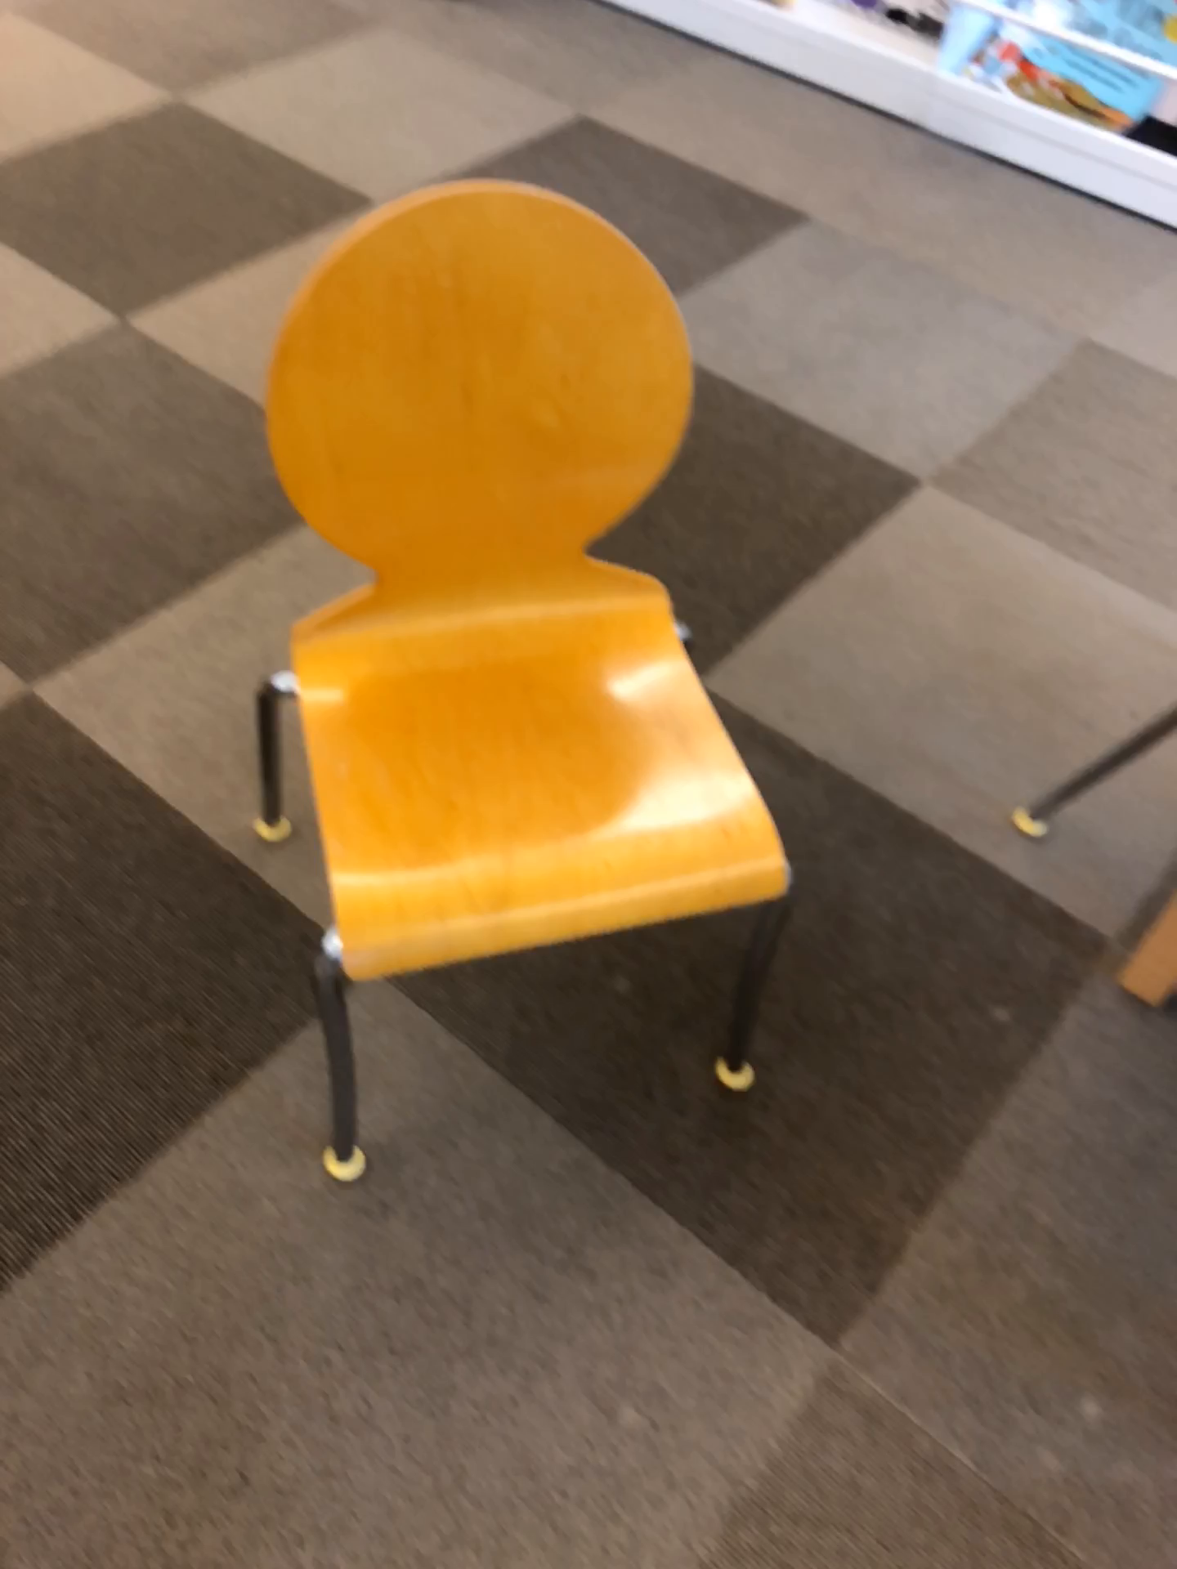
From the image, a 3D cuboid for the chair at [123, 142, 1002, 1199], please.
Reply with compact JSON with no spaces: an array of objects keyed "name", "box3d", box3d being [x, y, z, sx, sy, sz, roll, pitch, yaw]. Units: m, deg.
[{"name":"chair","box3d":[-0.076,-0.068,1.118,0.465,0.723,0.472,-9,51,-13]}]
